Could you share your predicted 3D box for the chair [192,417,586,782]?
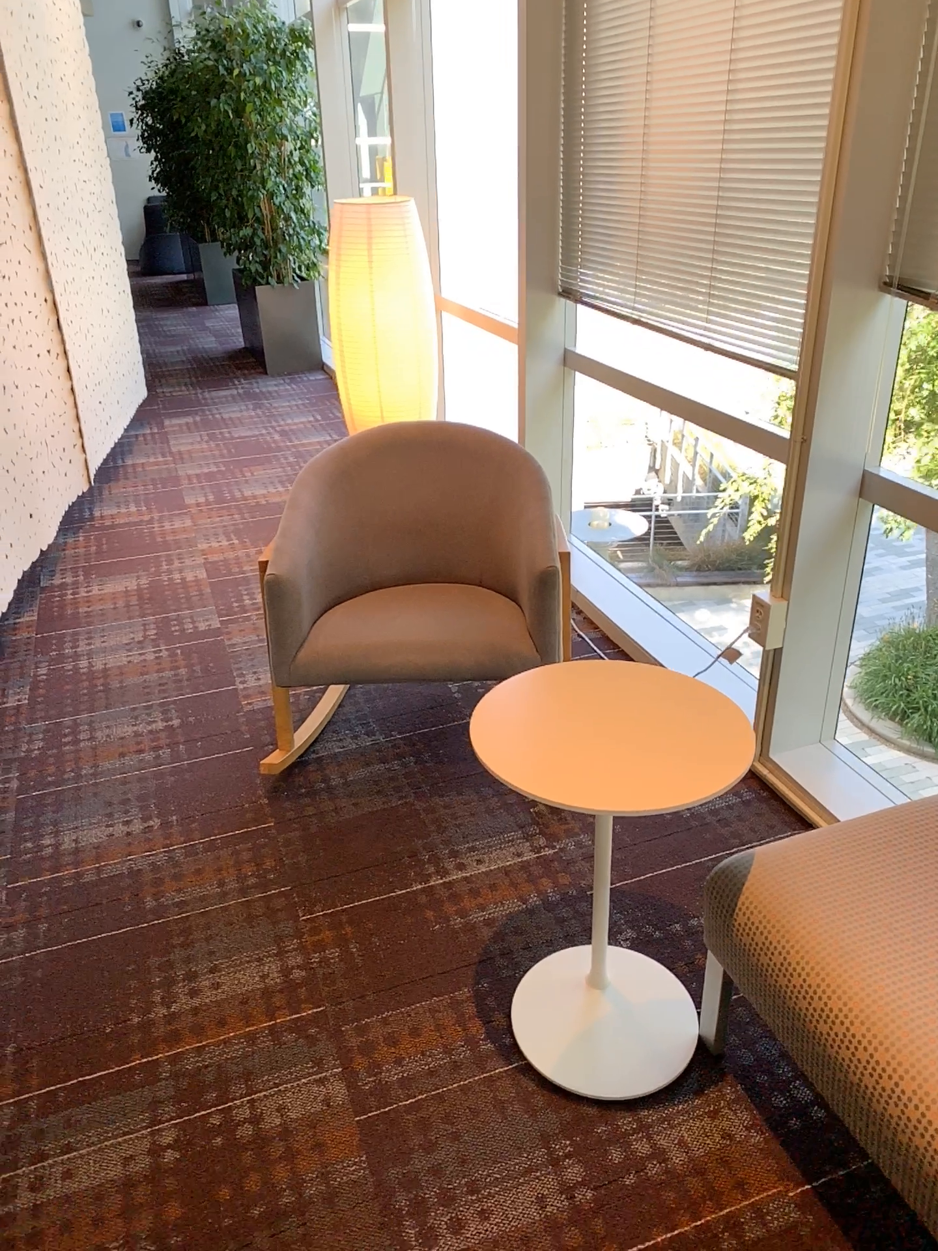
[{"bbox_3d":[-0.167,-0.121,2.614,0.850,0.656,0.915,-1,26,1],"label":"chair"}]
